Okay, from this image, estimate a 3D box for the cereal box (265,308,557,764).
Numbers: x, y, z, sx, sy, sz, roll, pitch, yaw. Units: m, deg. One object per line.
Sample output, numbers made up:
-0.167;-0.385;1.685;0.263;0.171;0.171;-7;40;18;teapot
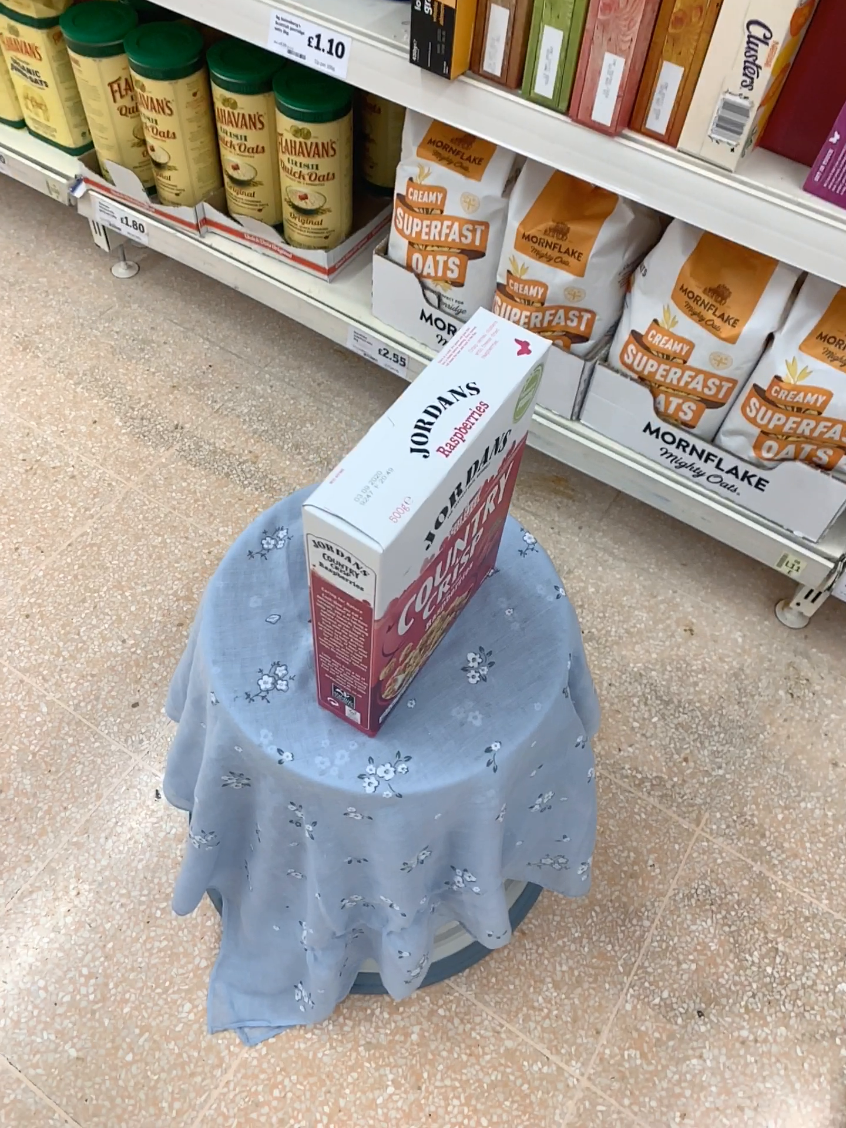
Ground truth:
-0.013;-0.005;0.590;0.060;0.268;0.201;32;59;13;cereal box
